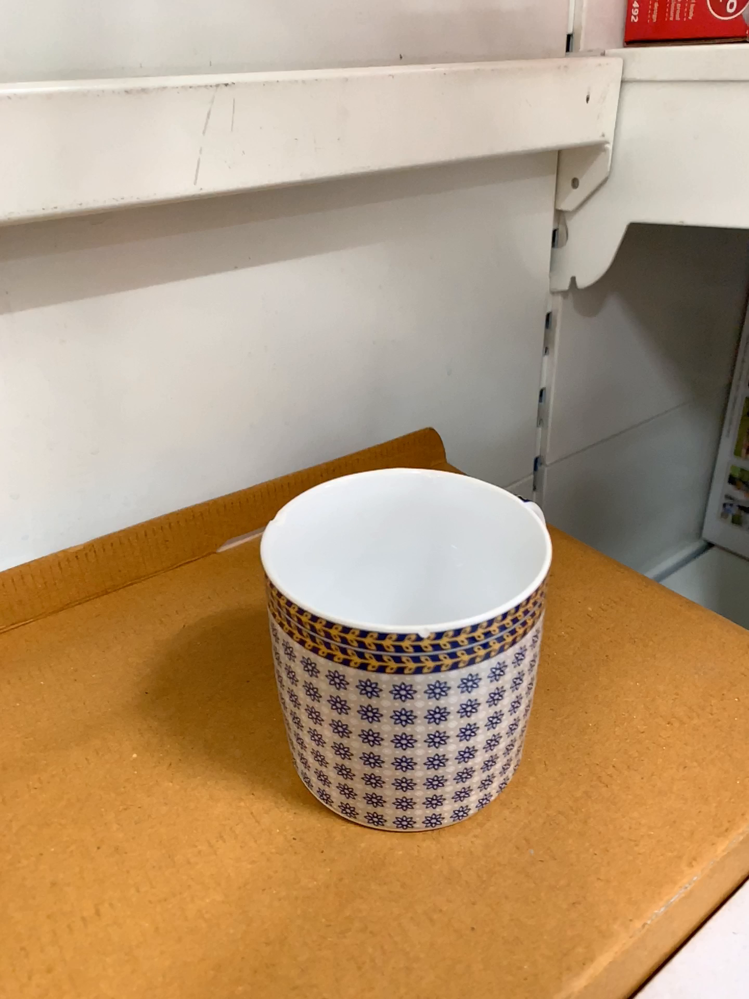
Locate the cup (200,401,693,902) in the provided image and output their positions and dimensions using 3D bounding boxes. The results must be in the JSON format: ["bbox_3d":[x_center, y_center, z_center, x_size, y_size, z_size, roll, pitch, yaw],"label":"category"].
[{"bbox_3d":[0.023,0.030,0.224,0.080,0.069,0.110,23,38,37],"label":"cup"}]
